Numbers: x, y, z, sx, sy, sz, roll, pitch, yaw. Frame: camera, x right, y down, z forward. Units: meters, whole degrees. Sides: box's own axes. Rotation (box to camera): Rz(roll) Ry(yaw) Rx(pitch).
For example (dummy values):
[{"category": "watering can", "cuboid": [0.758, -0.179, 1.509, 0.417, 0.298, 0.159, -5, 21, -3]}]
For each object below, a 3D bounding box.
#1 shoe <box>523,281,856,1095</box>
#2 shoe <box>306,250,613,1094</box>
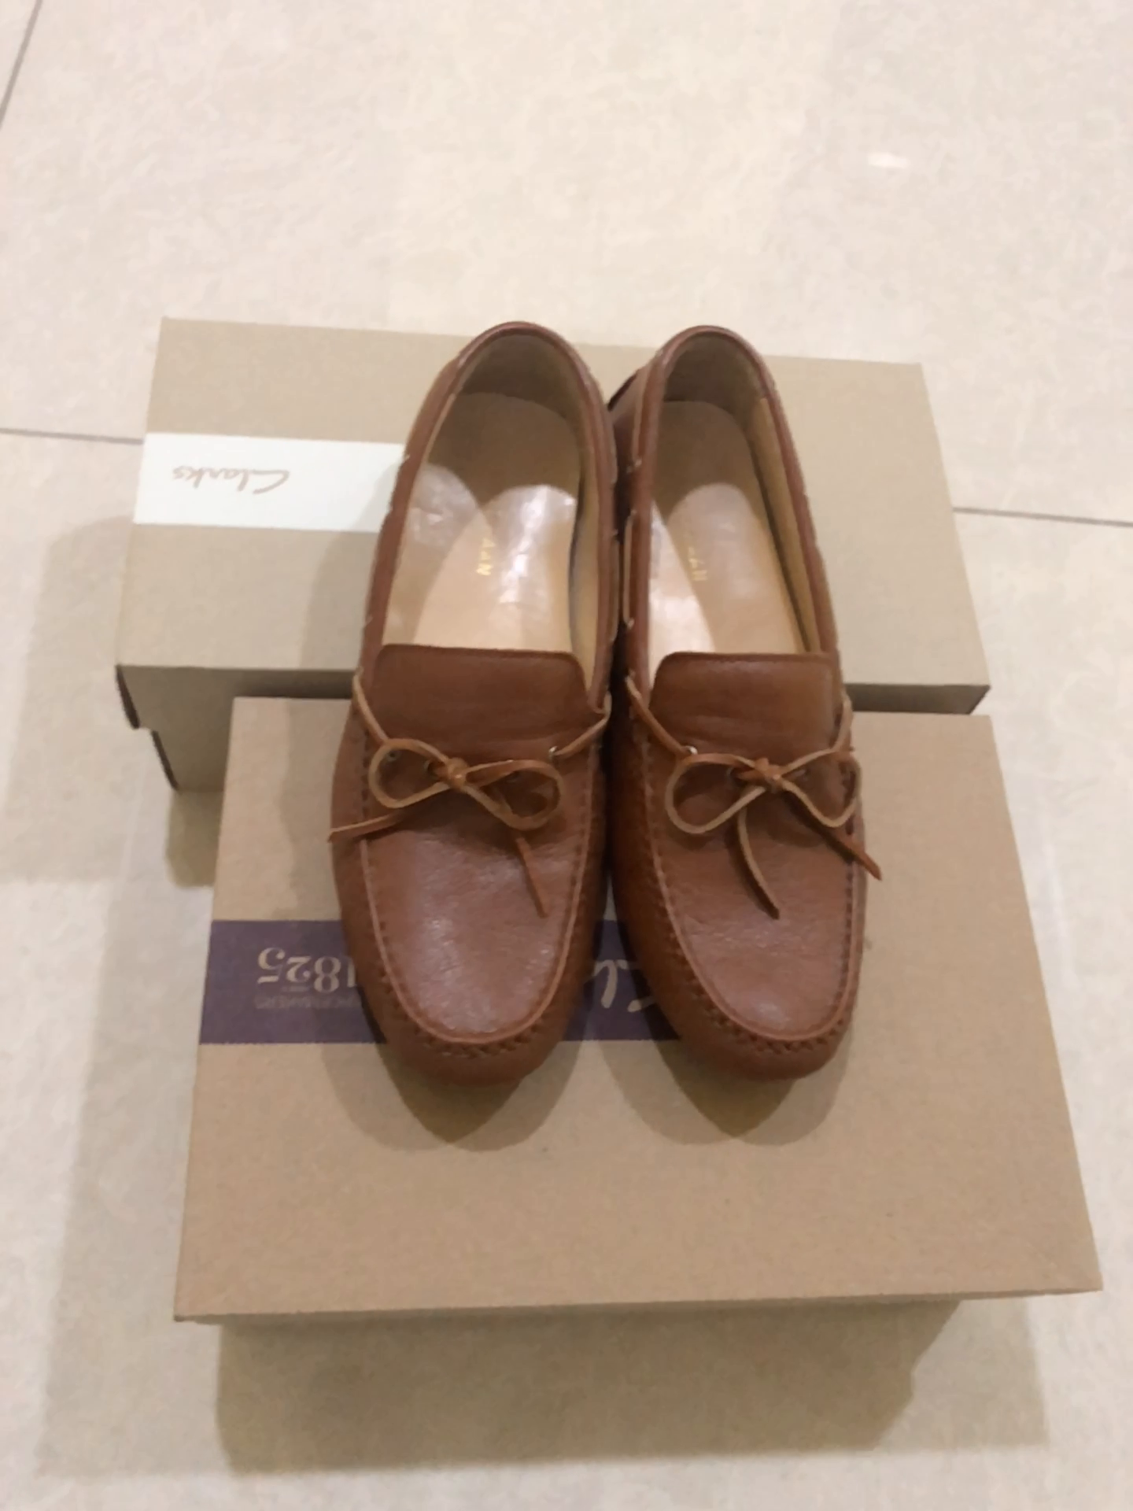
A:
[{"category": "shoe", "cuboid": [0.034, -0.027, 0.455, 0.080, 0.080, 0.280, 0, 70, -8]}, {"category": "shoe", "cuboid": [-0.033, -0.032, 0.441, 0.080, 0.080, 0.280, 4, 70, -6]}]
